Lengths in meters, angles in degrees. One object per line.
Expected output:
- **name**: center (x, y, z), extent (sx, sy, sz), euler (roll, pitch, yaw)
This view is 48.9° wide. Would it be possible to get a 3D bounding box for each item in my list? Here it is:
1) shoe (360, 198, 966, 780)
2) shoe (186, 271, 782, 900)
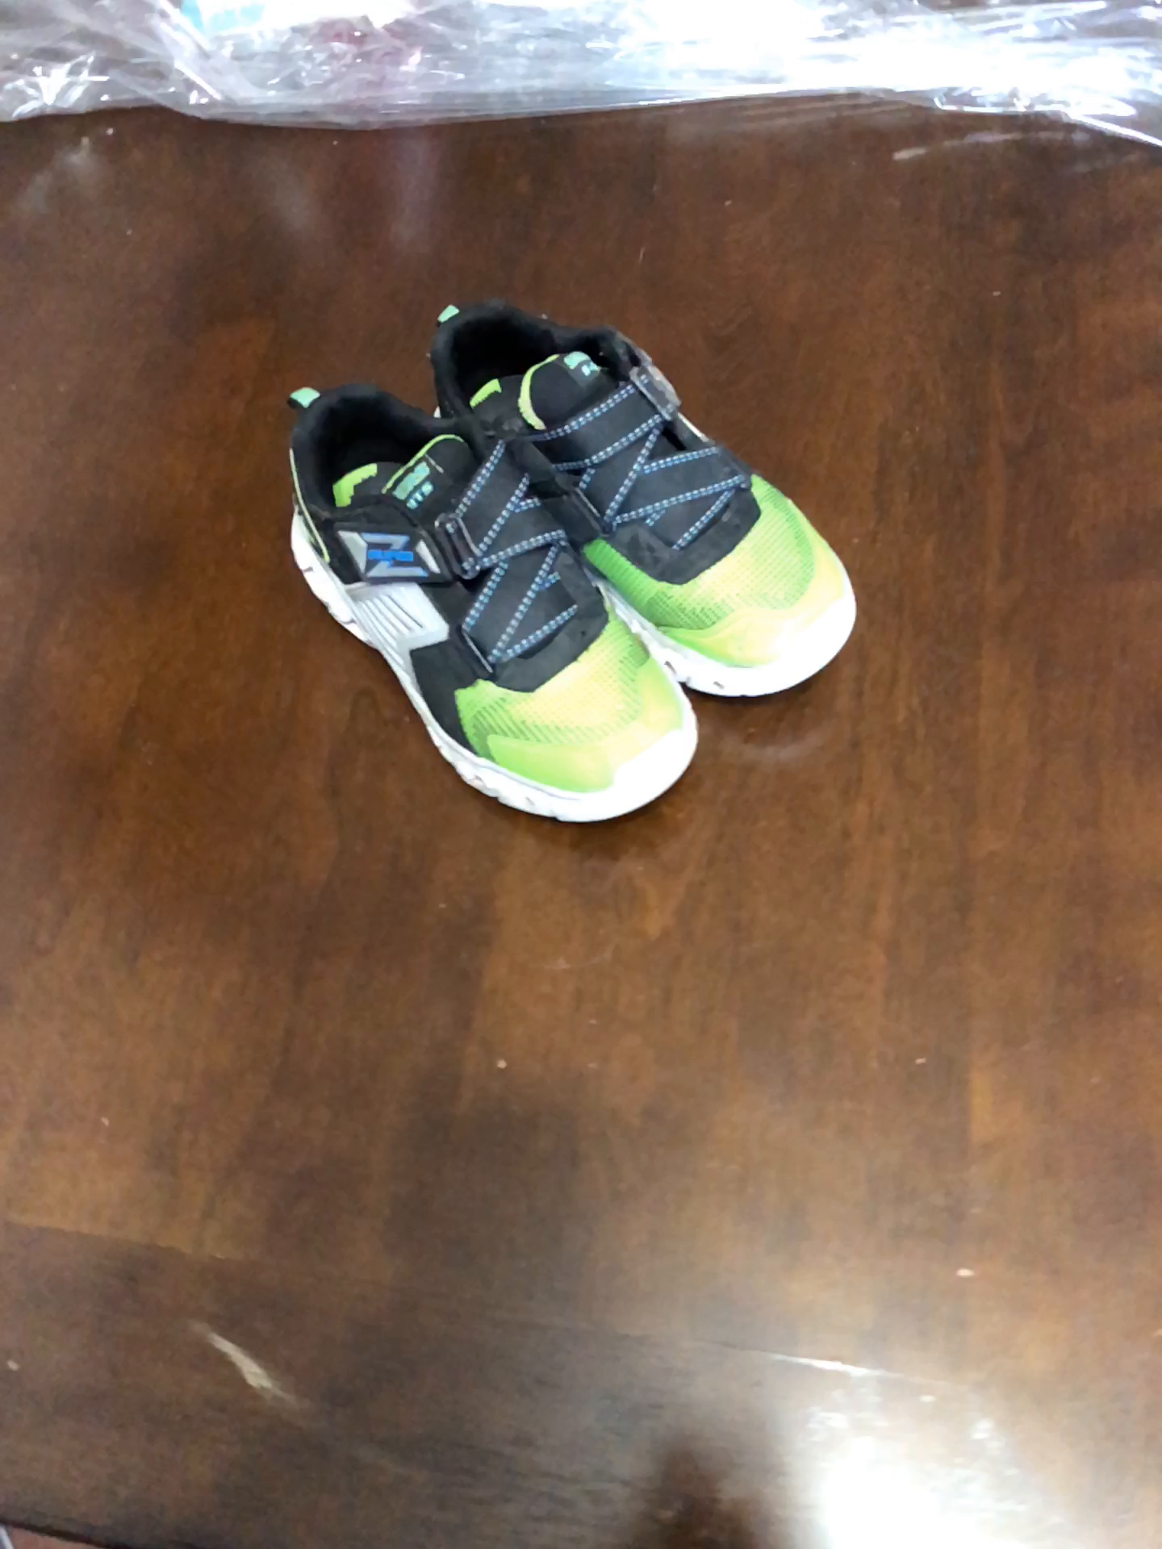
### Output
- **shoe**: center (0.028, -0.116, 0.509), extent (0.100, 0.100, 0.210), euler (-42, 65, -15)
- **shoe**: center (-0.036, -0.075, 0.485), extent (0.100, 0.100, 0.210), euler (-39, 64, -13)
